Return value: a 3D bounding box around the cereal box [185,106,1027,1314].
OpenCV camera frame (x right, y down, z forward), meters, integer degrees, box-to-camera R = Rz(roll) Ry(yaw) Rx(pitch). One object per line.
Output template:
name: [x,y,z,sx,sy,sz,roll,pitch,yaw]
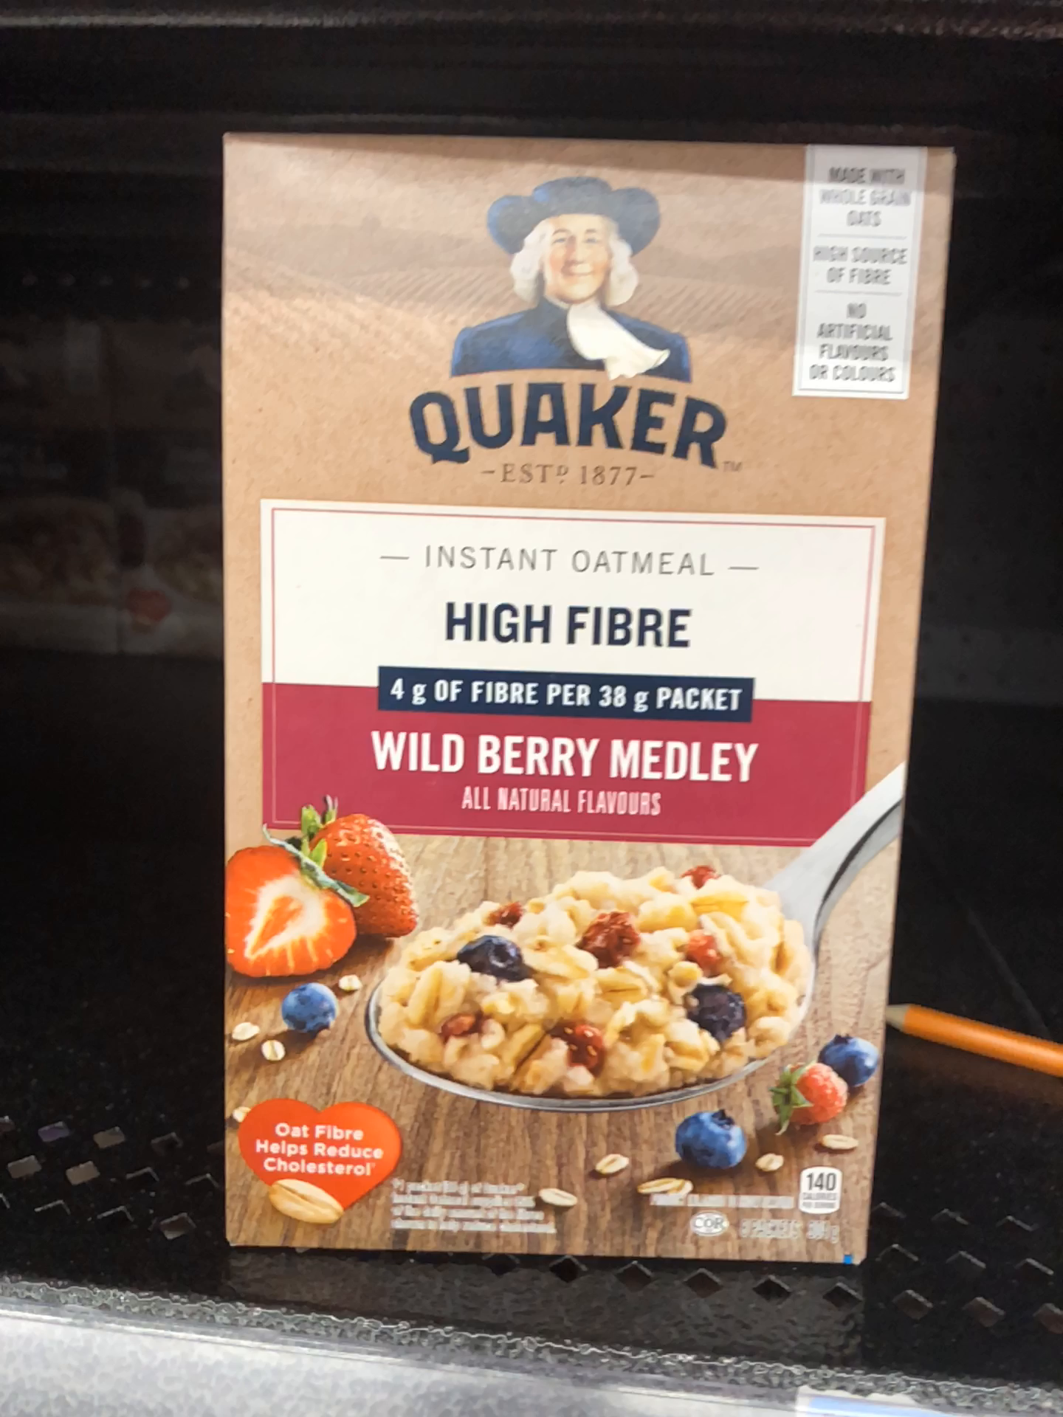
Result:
cereal box: [0.008,0.003,0.235,0.130,0.200,0.070,2,9,0]
